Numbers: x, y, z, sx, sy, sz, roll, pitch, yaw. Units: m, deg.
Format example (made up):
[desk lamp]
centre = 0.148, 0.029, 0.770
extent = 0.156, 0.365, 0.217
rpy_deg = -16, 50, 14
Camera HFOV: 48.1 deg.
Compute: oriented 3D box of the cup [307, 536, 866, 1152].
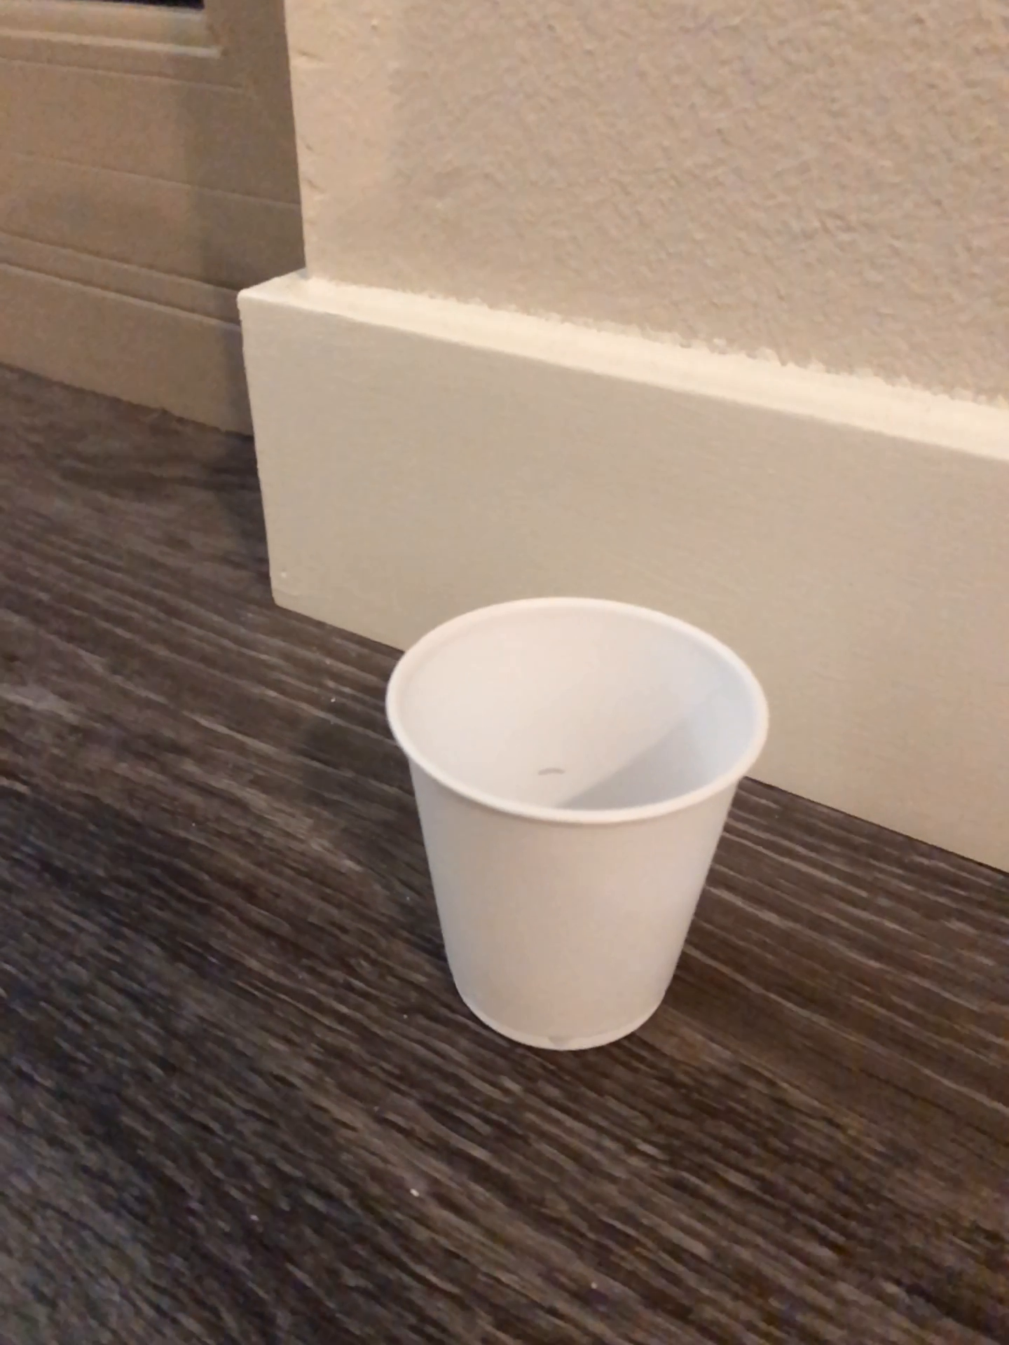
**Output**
[cup]
centre = 0.011, 0.023, 0.187
extent = 0.060, 0.060, 0.060
rpy_deg = 1, 33, 0
